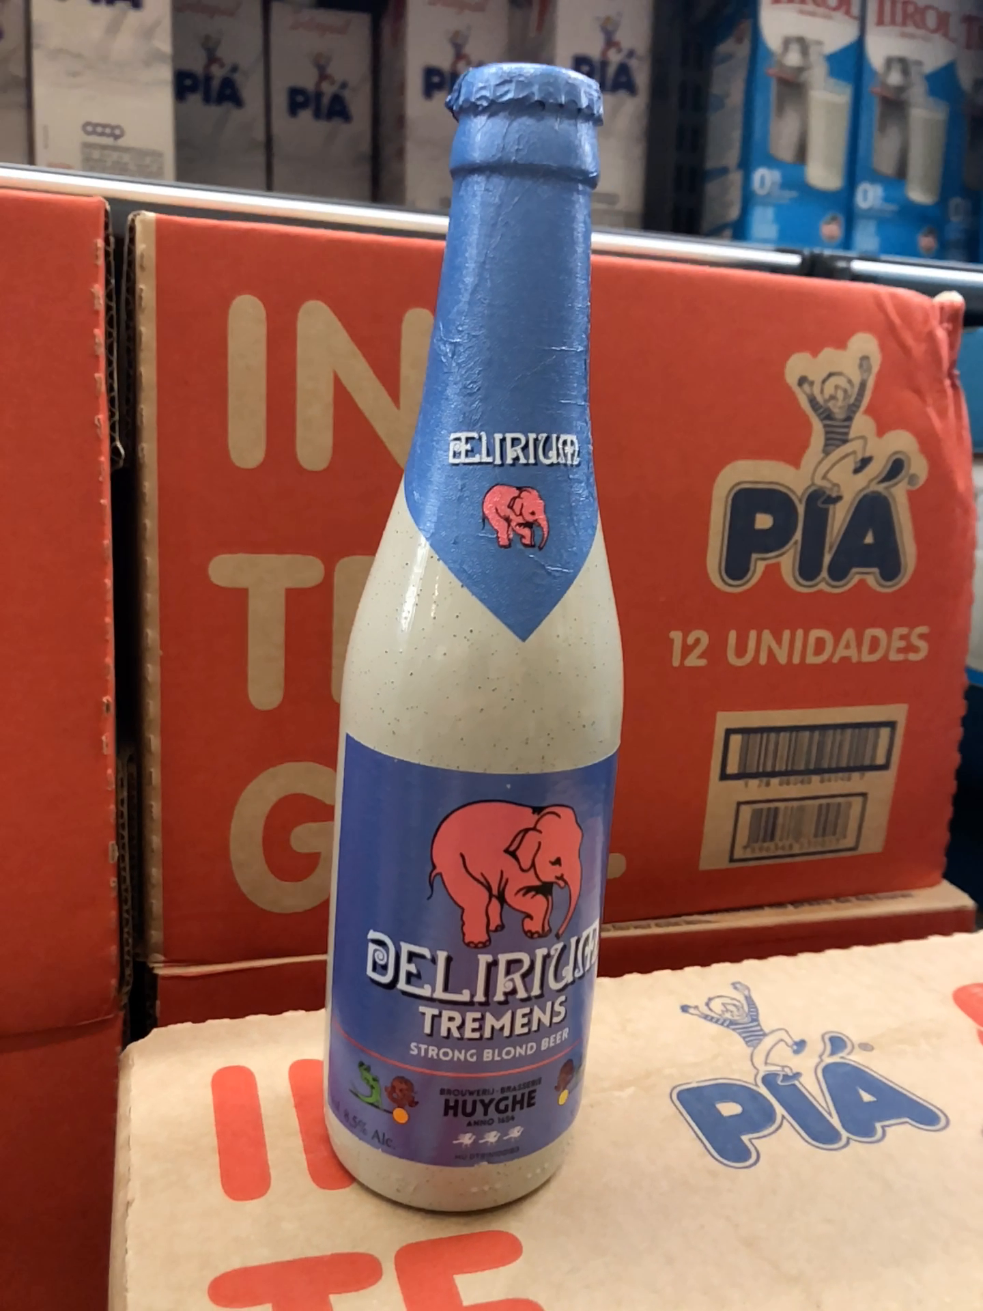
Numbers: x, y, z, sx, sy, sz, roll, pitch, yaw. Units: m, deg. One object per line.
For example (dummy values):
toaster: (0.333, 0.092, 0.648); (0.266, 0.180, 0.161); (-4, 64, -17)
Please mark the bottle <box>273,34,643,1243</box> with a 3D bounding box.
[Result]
bottle: (-0.014, 0.001, 0.233); (0.060, 0.219, 0.060); (2, 9, 0)
